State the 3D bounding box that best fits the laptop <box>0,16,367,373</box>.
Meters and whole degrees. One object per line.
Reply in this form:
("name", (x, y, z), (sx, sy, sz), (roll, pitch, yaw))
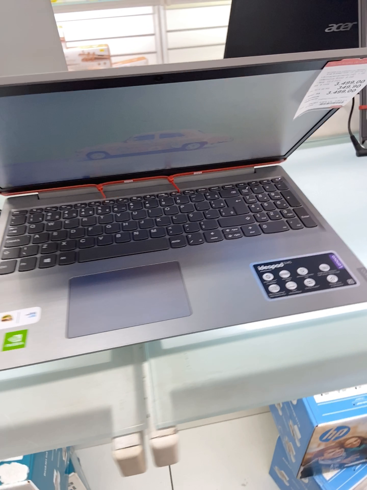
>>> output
("laptop", (-0.025, -0.074, 0.349), (0.359, 0.175, 0.245), (-9, 40, -7))
